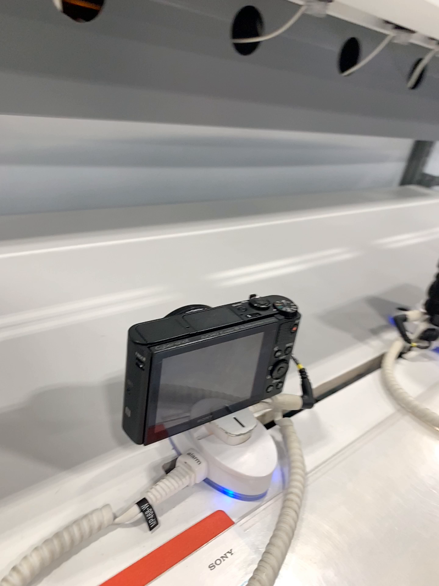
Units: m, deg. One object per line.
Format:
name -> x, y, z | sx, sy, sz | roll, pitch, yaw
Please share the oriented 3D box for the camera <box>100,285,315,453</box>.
camera -> -0.005, 0.035, 0.244 | 0.104, 0.052, 0.040 | -10, 33, -37
